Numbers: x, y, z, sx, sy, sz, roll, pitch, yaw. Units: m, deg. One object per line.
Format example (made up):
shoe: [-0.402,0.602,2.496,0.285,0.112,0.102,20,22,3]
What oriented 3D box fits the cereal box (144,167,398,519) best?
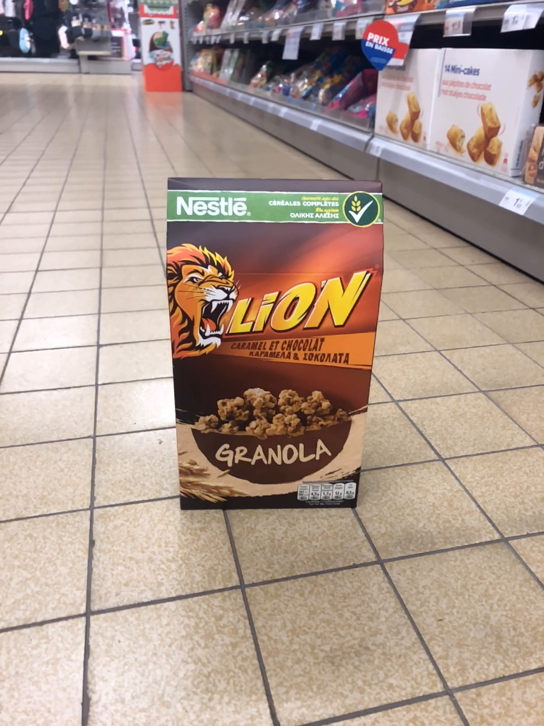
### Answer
cereal box: [-0.004,-0.009,0.445,0.150,0.249,0.080,0,27,-2]
